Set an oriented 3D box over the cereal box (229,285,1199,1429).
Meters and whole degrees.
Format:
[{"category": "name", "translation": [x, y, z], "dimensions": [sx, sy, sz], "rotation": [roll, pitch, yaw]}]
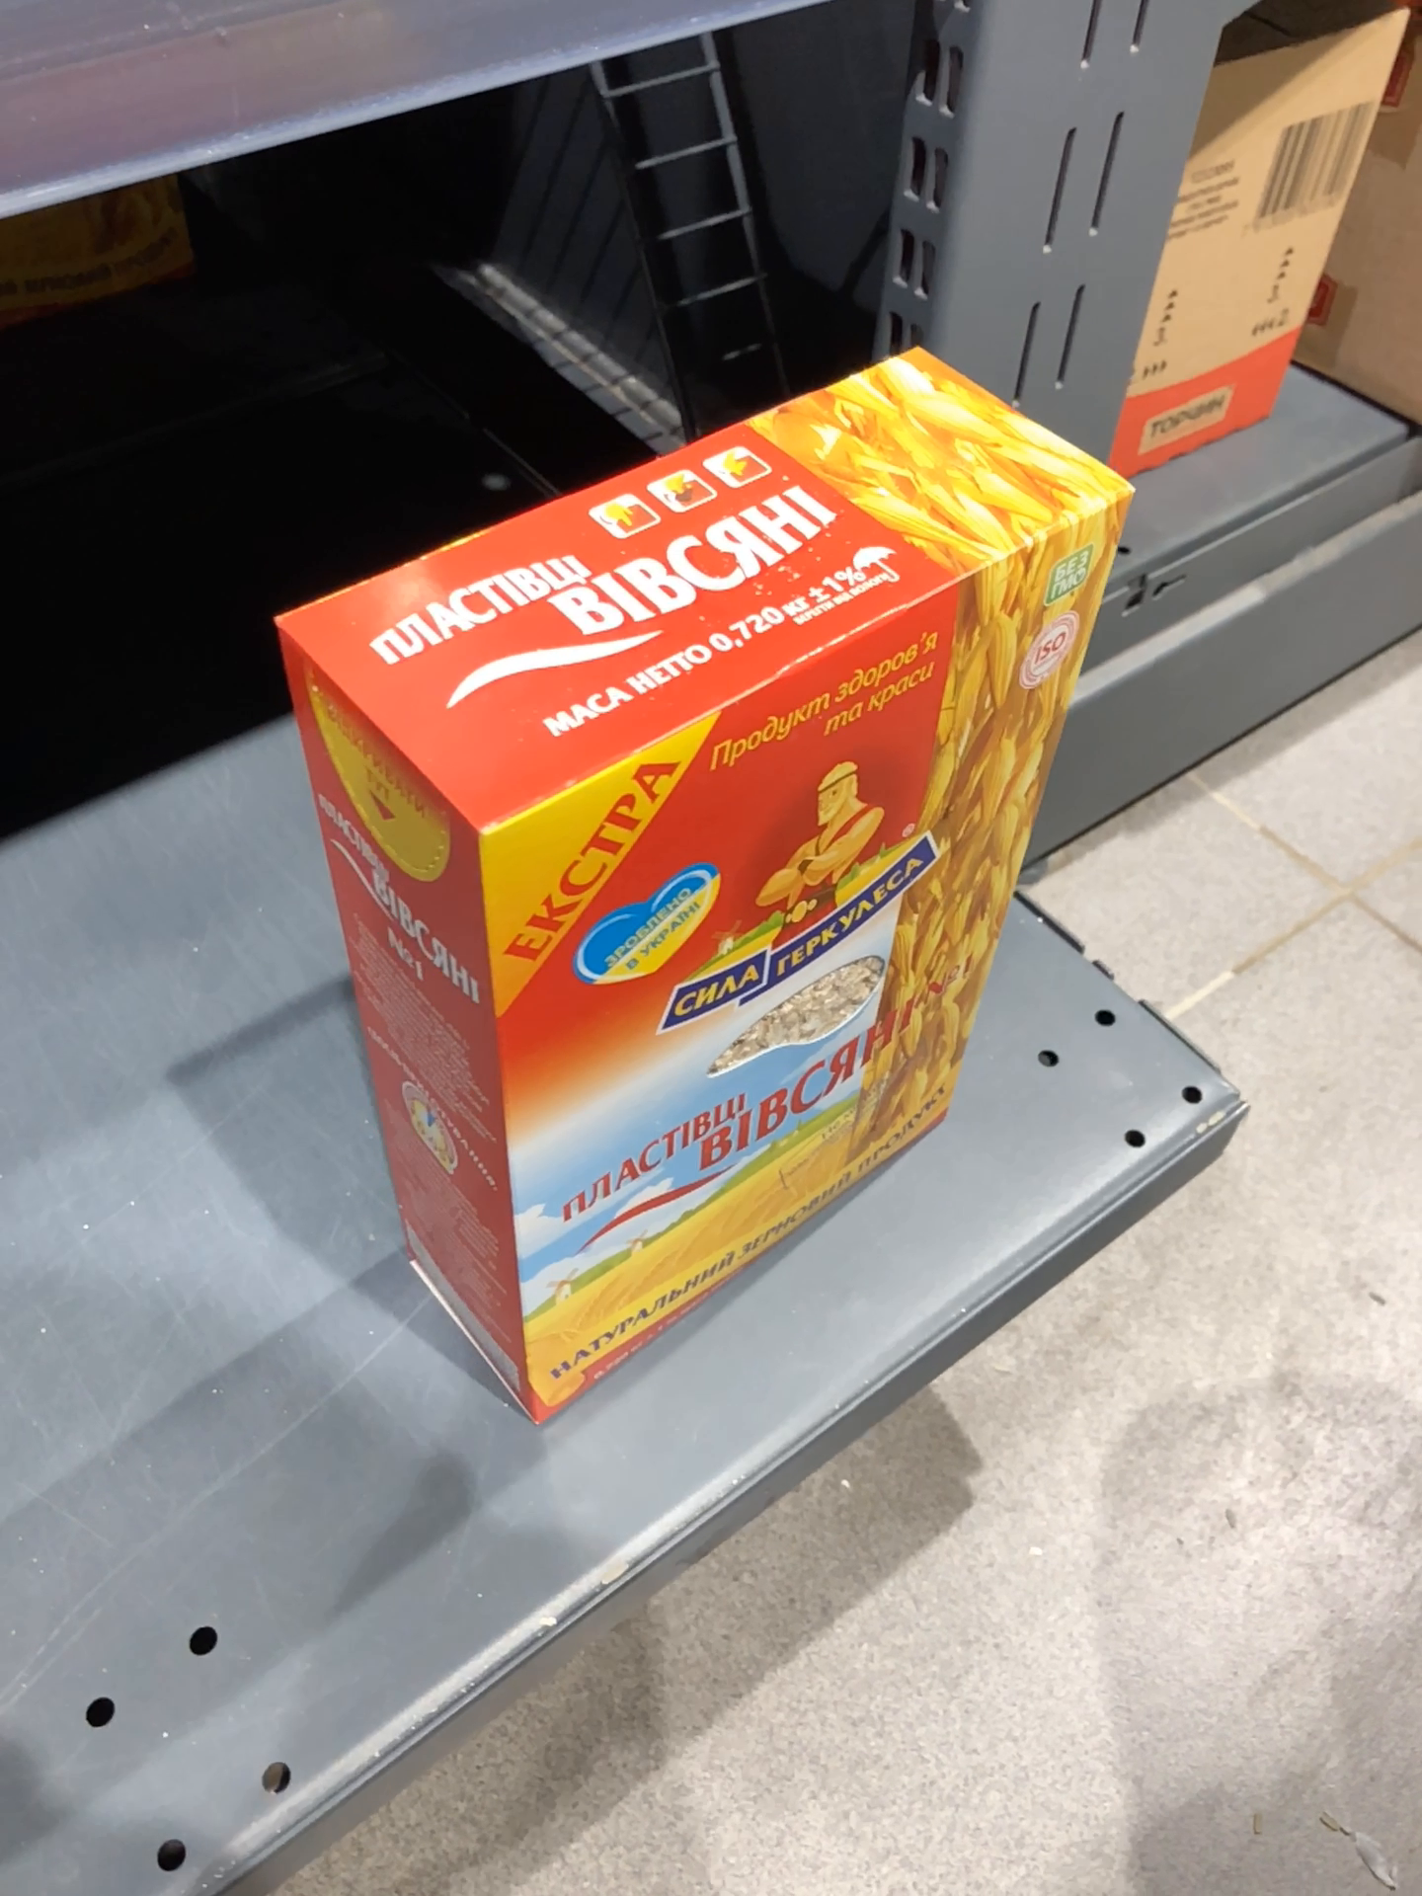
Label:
[{"category": "cereal box", "translation": [0.002, -0.011, 0.352], "dimensions": [0.161, 0.208, 0.070], "rotation": [-31, 58, -26]}]
